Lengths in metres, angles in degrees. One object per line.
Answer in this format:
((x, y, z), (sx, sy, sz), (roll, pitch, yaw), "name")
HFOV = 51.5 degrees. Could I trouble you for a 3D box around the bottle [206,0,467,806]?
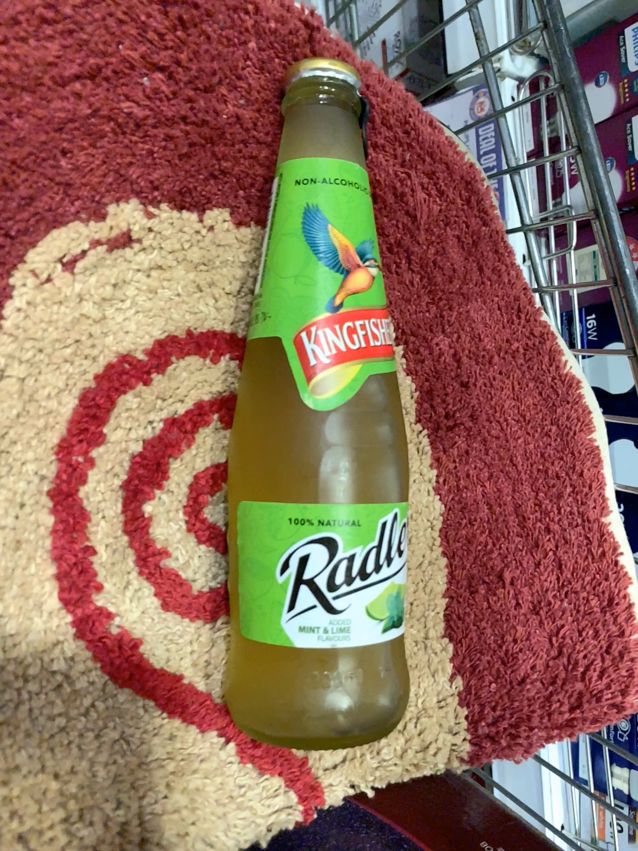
((0.004, -0.019, 0.220), (0.060, 0.060, 0.240), (3, 86, -34), "bottle")
